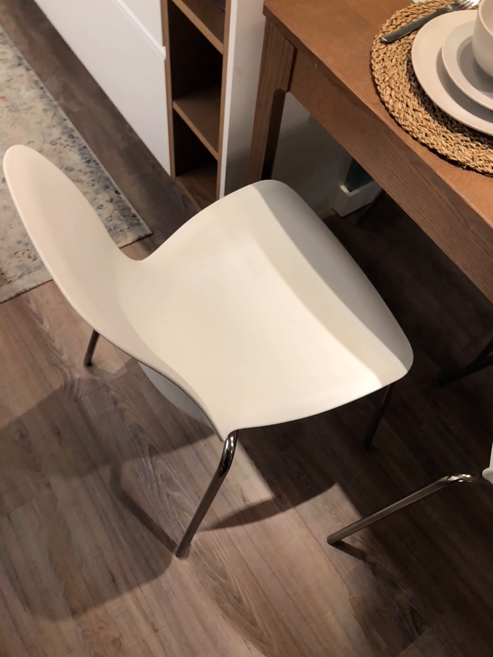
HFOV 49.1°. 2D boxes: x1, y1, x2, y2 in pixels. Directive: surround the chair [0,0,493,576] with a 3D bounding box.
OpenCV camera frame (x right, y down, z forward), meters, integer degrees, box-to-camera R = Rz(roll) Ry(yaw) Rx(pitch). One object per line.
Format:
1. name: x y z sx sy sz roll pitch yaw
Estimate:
1. chair: -0.016 -0.010 0.904 0.531 0.707 0.542 -25 67 -18
